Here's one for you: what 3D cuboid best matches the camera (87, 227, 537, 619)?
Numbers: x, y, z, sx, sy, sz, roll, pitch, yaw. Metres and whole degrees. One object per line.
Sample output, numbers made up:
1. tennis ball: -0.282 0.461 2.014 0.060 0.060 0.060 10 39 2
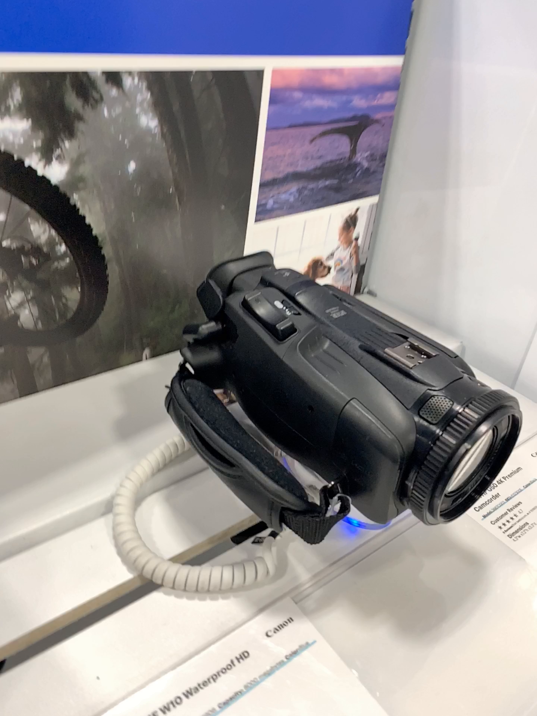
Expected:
1. camera: 0.014 0.005 0.291 0.132 0.069 0.201 -20 40 -36
